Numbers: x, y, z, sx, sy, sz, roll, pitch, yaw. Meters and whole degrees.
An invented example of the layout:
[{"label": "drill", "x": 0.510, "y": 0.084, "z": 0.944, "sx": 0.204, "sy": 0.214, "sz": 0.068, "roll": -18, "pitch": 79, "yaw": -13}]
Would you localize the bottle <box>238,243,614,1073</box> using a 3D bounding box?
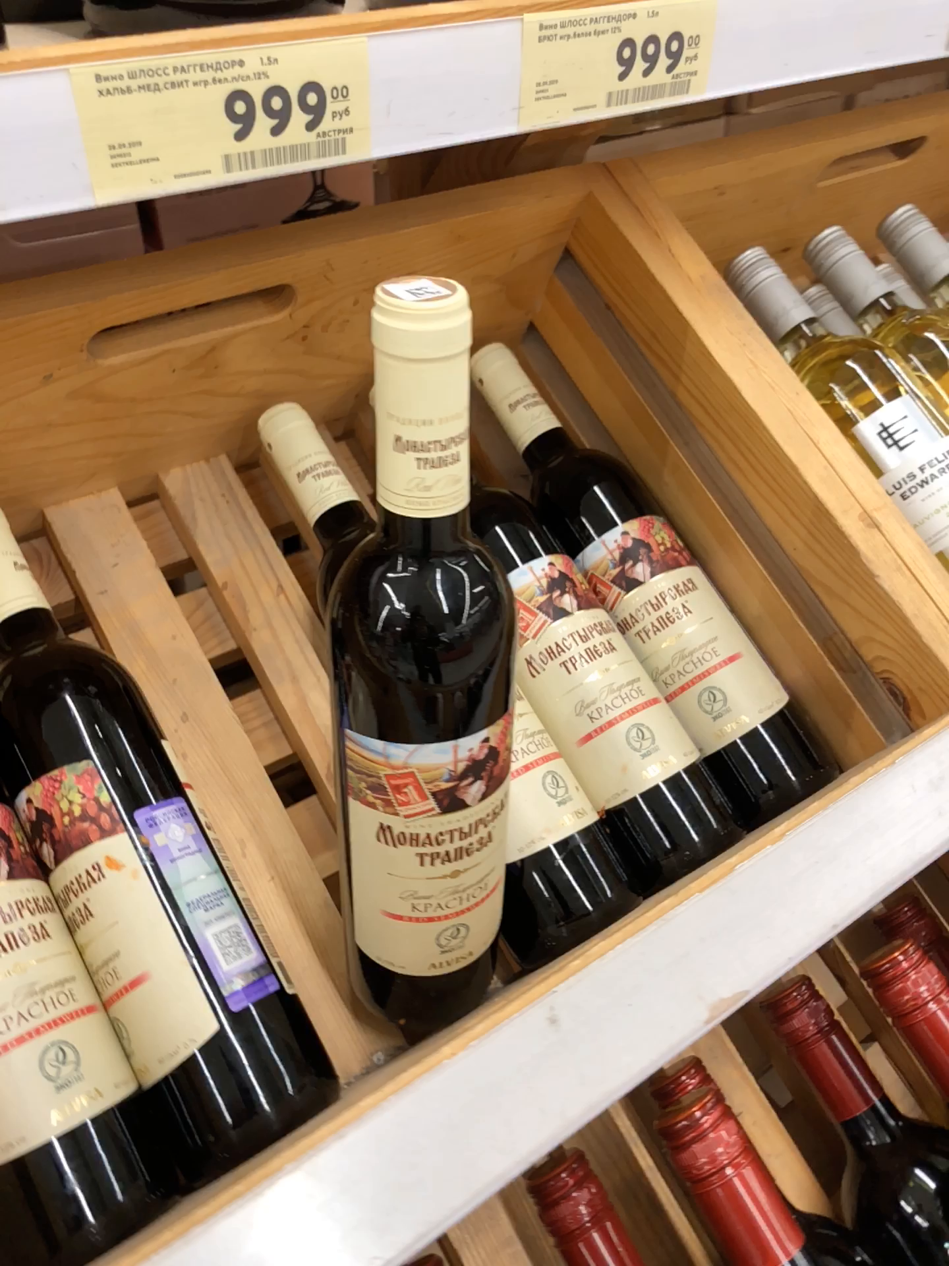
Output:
[{"label": "bottle", "x": -0.015, "y": 0.030, "z": 0.388, "sx": 0.080, "sy": 0.308, "sz": 0.080, "roll": 0, "pitch": 38, "yaw": 0}]
